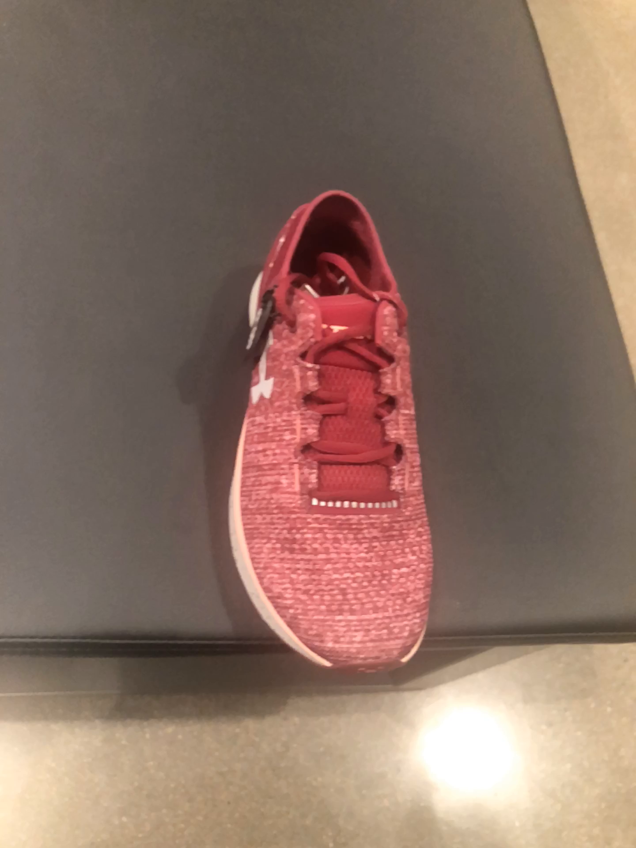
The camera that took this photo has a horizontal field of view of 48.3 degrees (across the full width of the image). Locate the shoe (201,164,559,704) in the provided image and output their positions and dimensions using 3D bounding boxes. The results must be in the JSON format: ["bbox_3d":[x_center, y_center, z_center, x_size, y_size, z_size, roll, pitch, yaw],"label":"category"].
[{"bbox_3d":[0.011,-0.002,0.369,0.122,0.097,0.253,-3,64,-13],"label":"shoe"}]
